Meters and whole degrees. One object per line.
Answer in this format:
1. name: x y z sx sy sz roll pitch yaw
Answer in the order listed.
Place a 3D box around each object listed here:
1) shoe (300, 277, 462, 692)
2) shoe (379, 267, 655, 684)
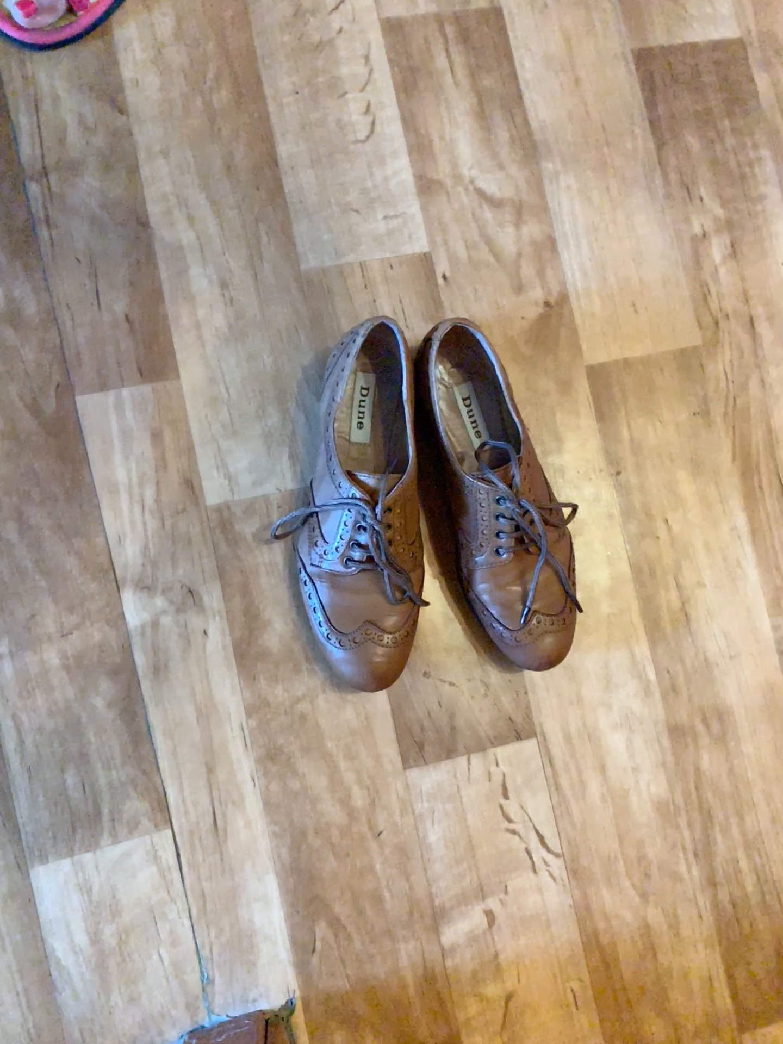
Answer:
1. shoe: -0.013 -0.018 0.524 0.090 0.120 0.240 0 84 -7
2. shoe: 0.071 -0.024 0.520 0.080 0.120 0.230 -17 87 -9
